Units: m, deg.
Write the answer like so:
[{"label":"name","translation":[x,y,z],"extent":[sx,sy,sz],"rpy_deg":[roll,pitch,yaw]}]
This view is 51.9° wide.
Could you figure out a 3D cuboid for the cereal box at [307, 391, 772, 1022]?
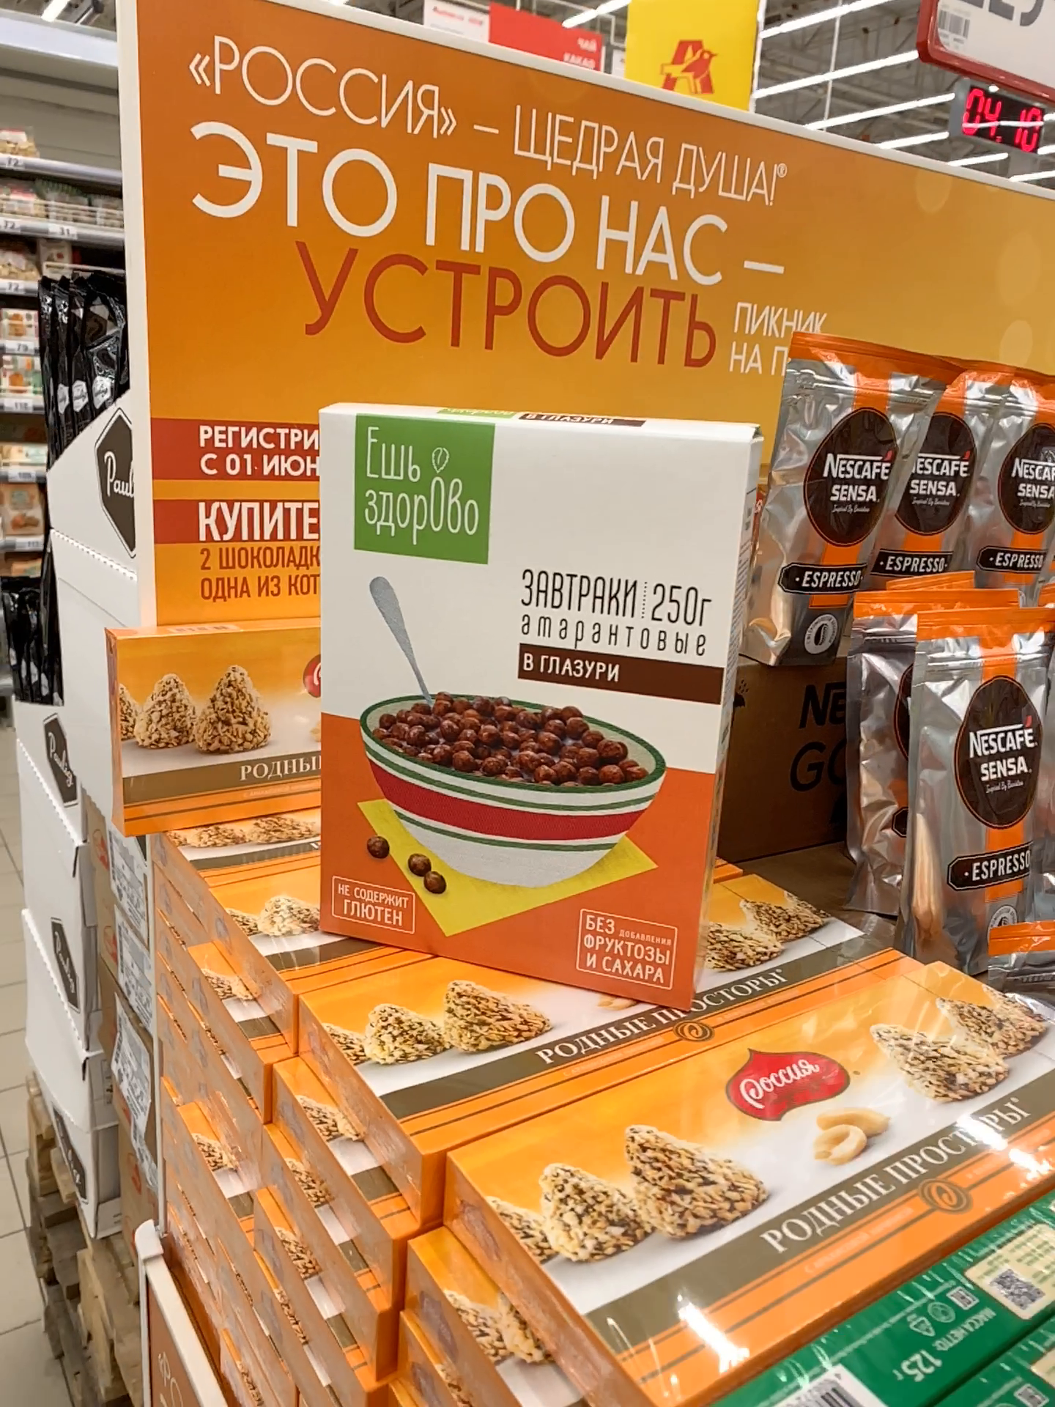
[{"label":"cereal box","translation":[-0.002,-0.004,0.503],"extent":[0.190,0.259,0.060],"rpy_deg":[8,16,16]}]
